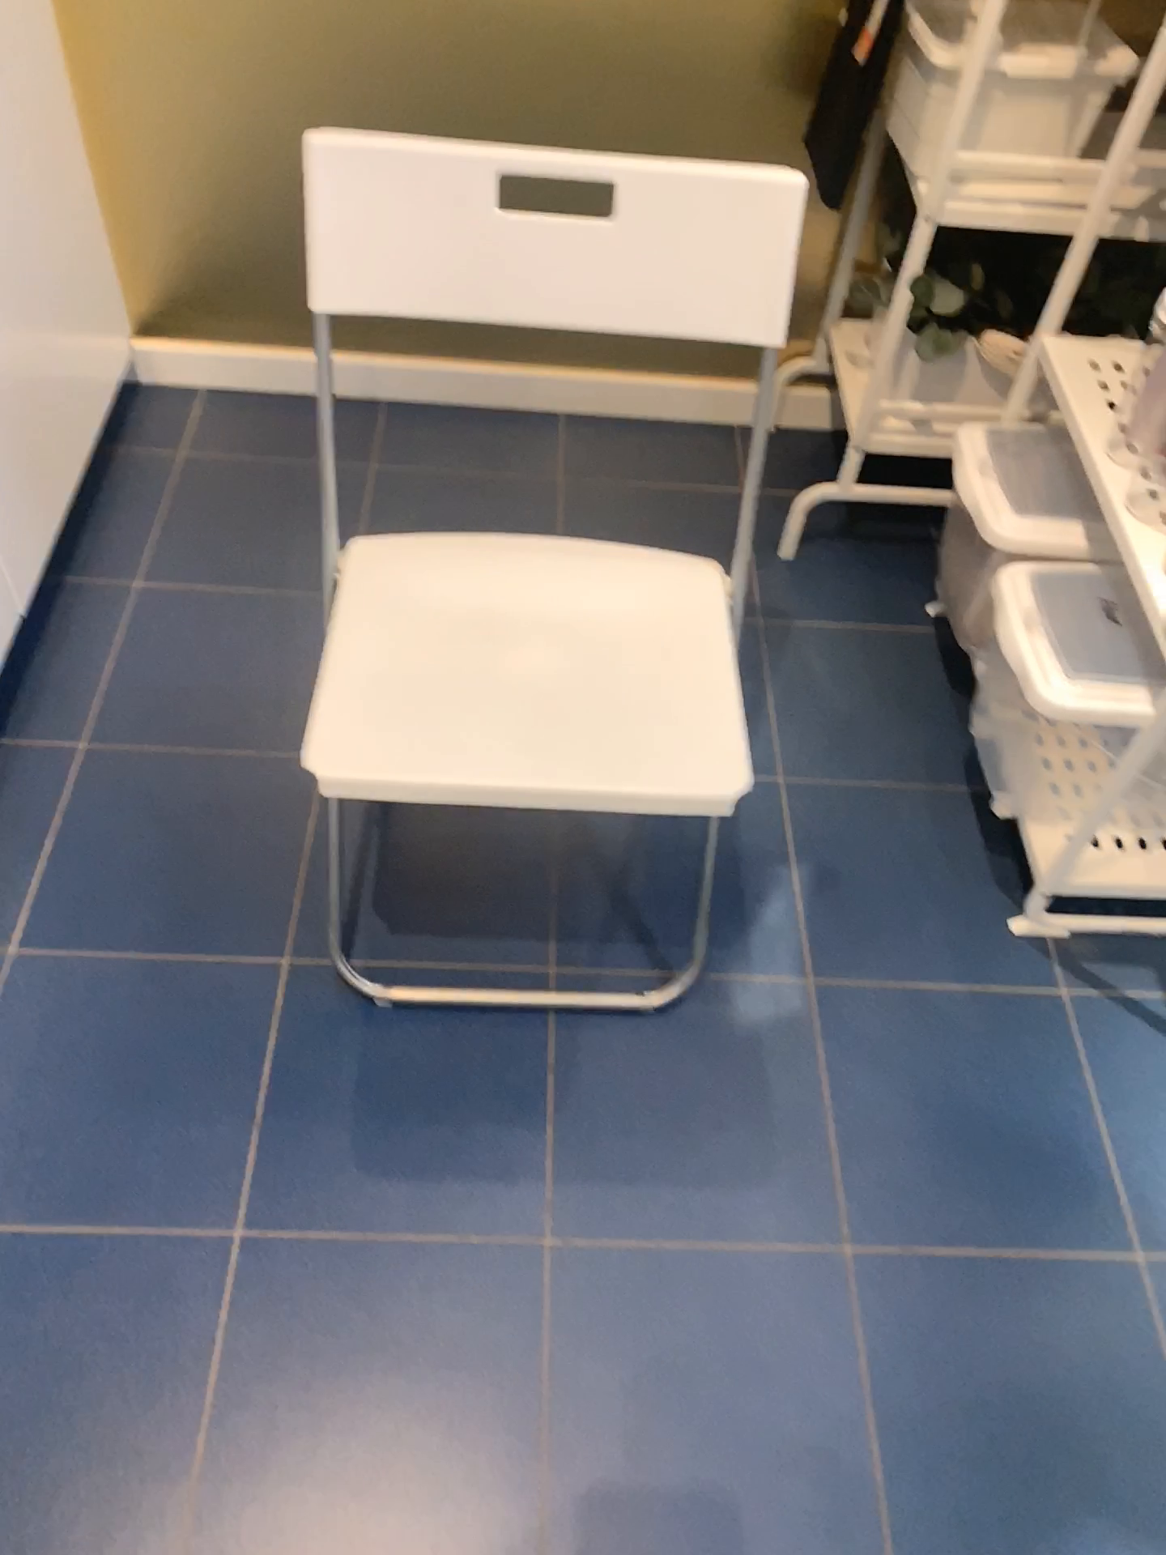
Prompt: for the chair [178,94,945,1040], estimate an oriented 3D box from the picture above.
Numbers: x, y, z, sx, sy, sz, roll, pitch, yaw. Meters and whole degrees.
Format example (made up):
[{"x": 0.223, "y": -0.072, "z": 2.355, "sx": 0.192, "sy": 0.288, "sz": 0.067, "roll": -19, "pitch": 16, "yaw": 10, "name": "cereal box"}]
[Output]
[{"x": -0.033, "y": -0.129, "z": 1.097, "sx": 0.440, "sy": 0.747, "sz": 0.422, "roll": 3, "pitch": 51, "yaw": -3, "name": "chair"}]
